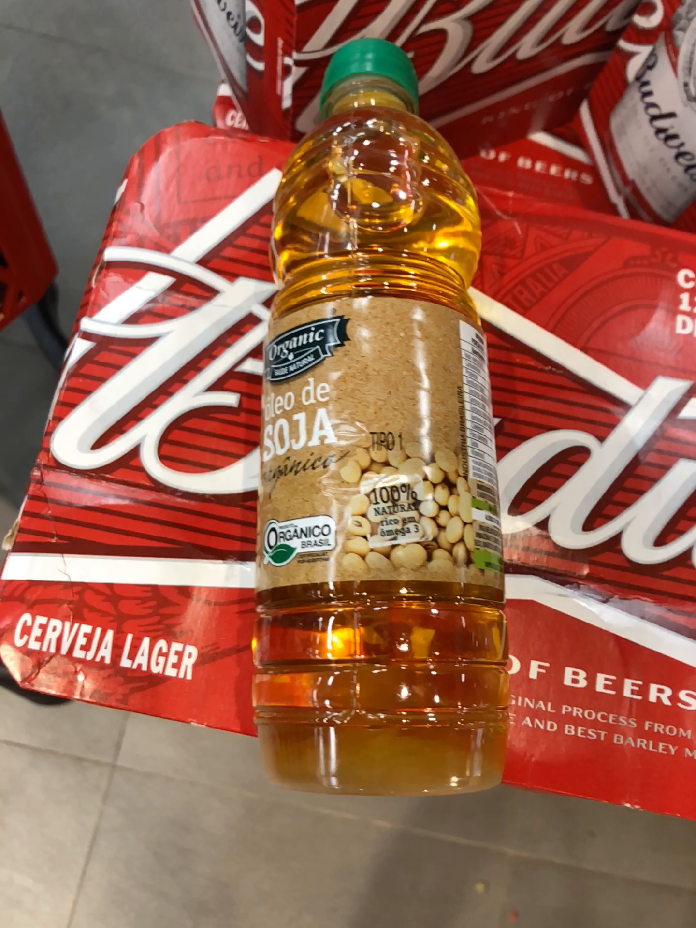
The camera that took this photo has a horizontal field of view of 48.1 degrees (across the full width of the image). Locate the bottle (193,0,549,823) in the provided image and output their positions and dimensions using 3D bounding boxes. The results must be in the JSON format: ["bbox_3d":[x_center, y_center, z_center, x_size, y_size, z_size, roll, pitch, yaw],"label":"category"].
[{"bbox_3d":[0.006,-0.037,0.220,0.060,0.060,0.240,15,68,-40],"label":"bottle"}]
